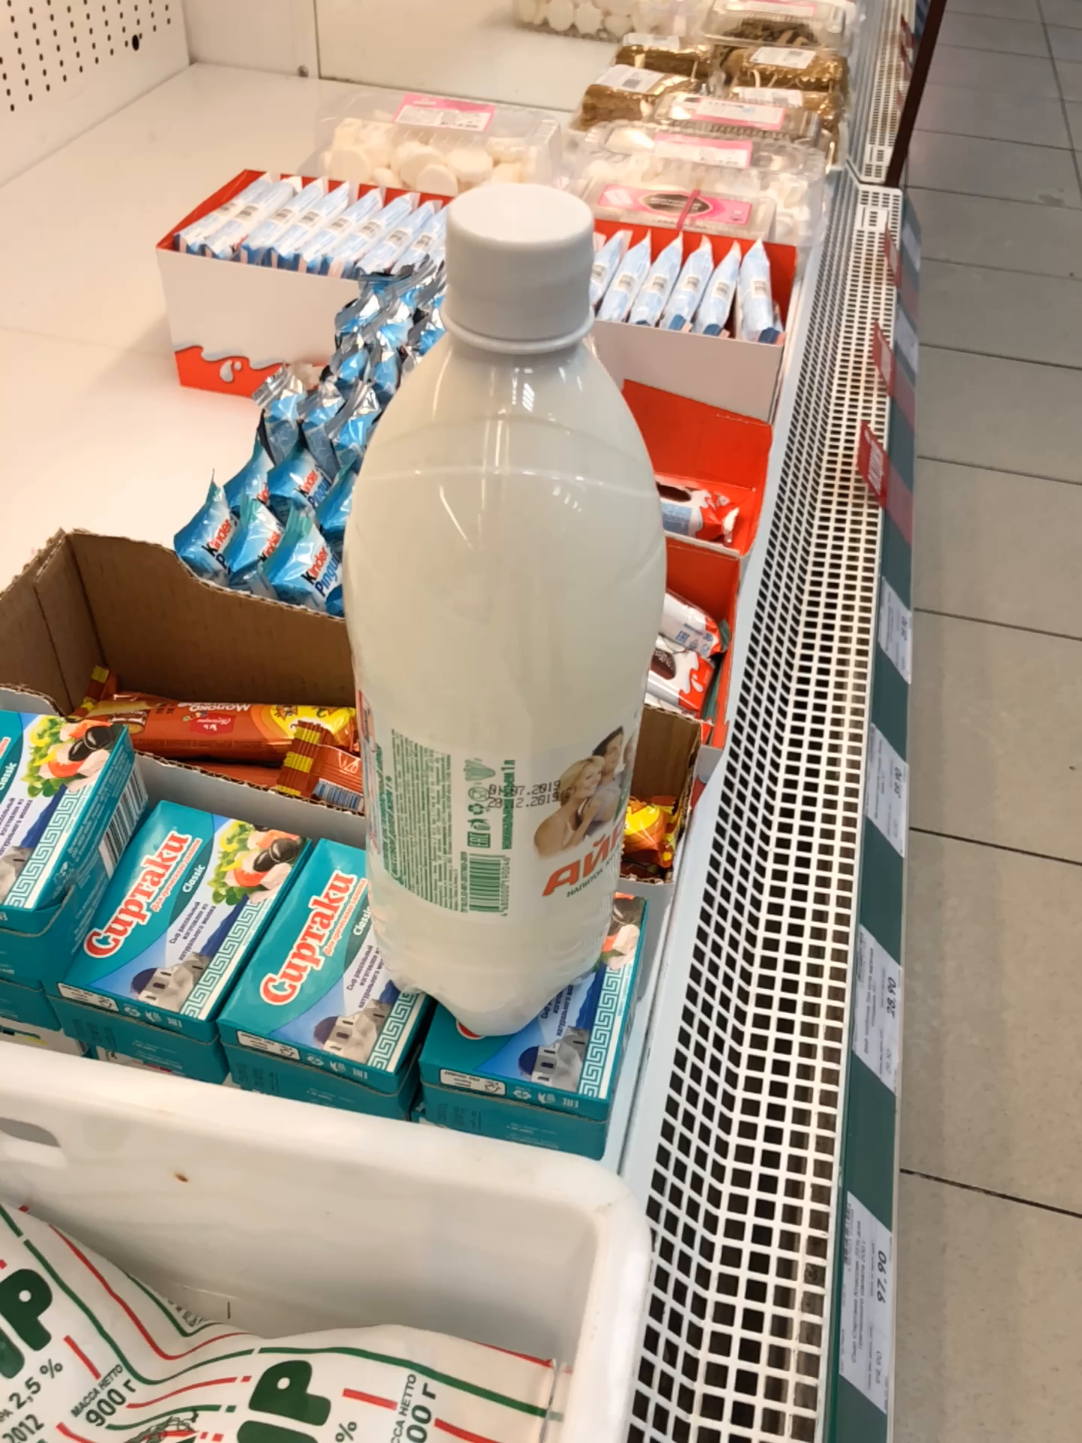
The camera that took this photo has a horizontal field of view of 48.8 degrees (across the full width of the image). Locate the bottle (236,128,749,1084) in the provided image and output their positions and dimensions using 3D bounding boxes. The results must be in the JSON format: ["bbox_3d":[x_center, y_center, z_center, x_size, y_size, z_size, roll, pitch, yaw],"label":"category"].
[{"bbox_3d":[-0.013,-0.011,0.326,0.079,0.250,0.078,2,44,-2],"label":"bottle"}]
